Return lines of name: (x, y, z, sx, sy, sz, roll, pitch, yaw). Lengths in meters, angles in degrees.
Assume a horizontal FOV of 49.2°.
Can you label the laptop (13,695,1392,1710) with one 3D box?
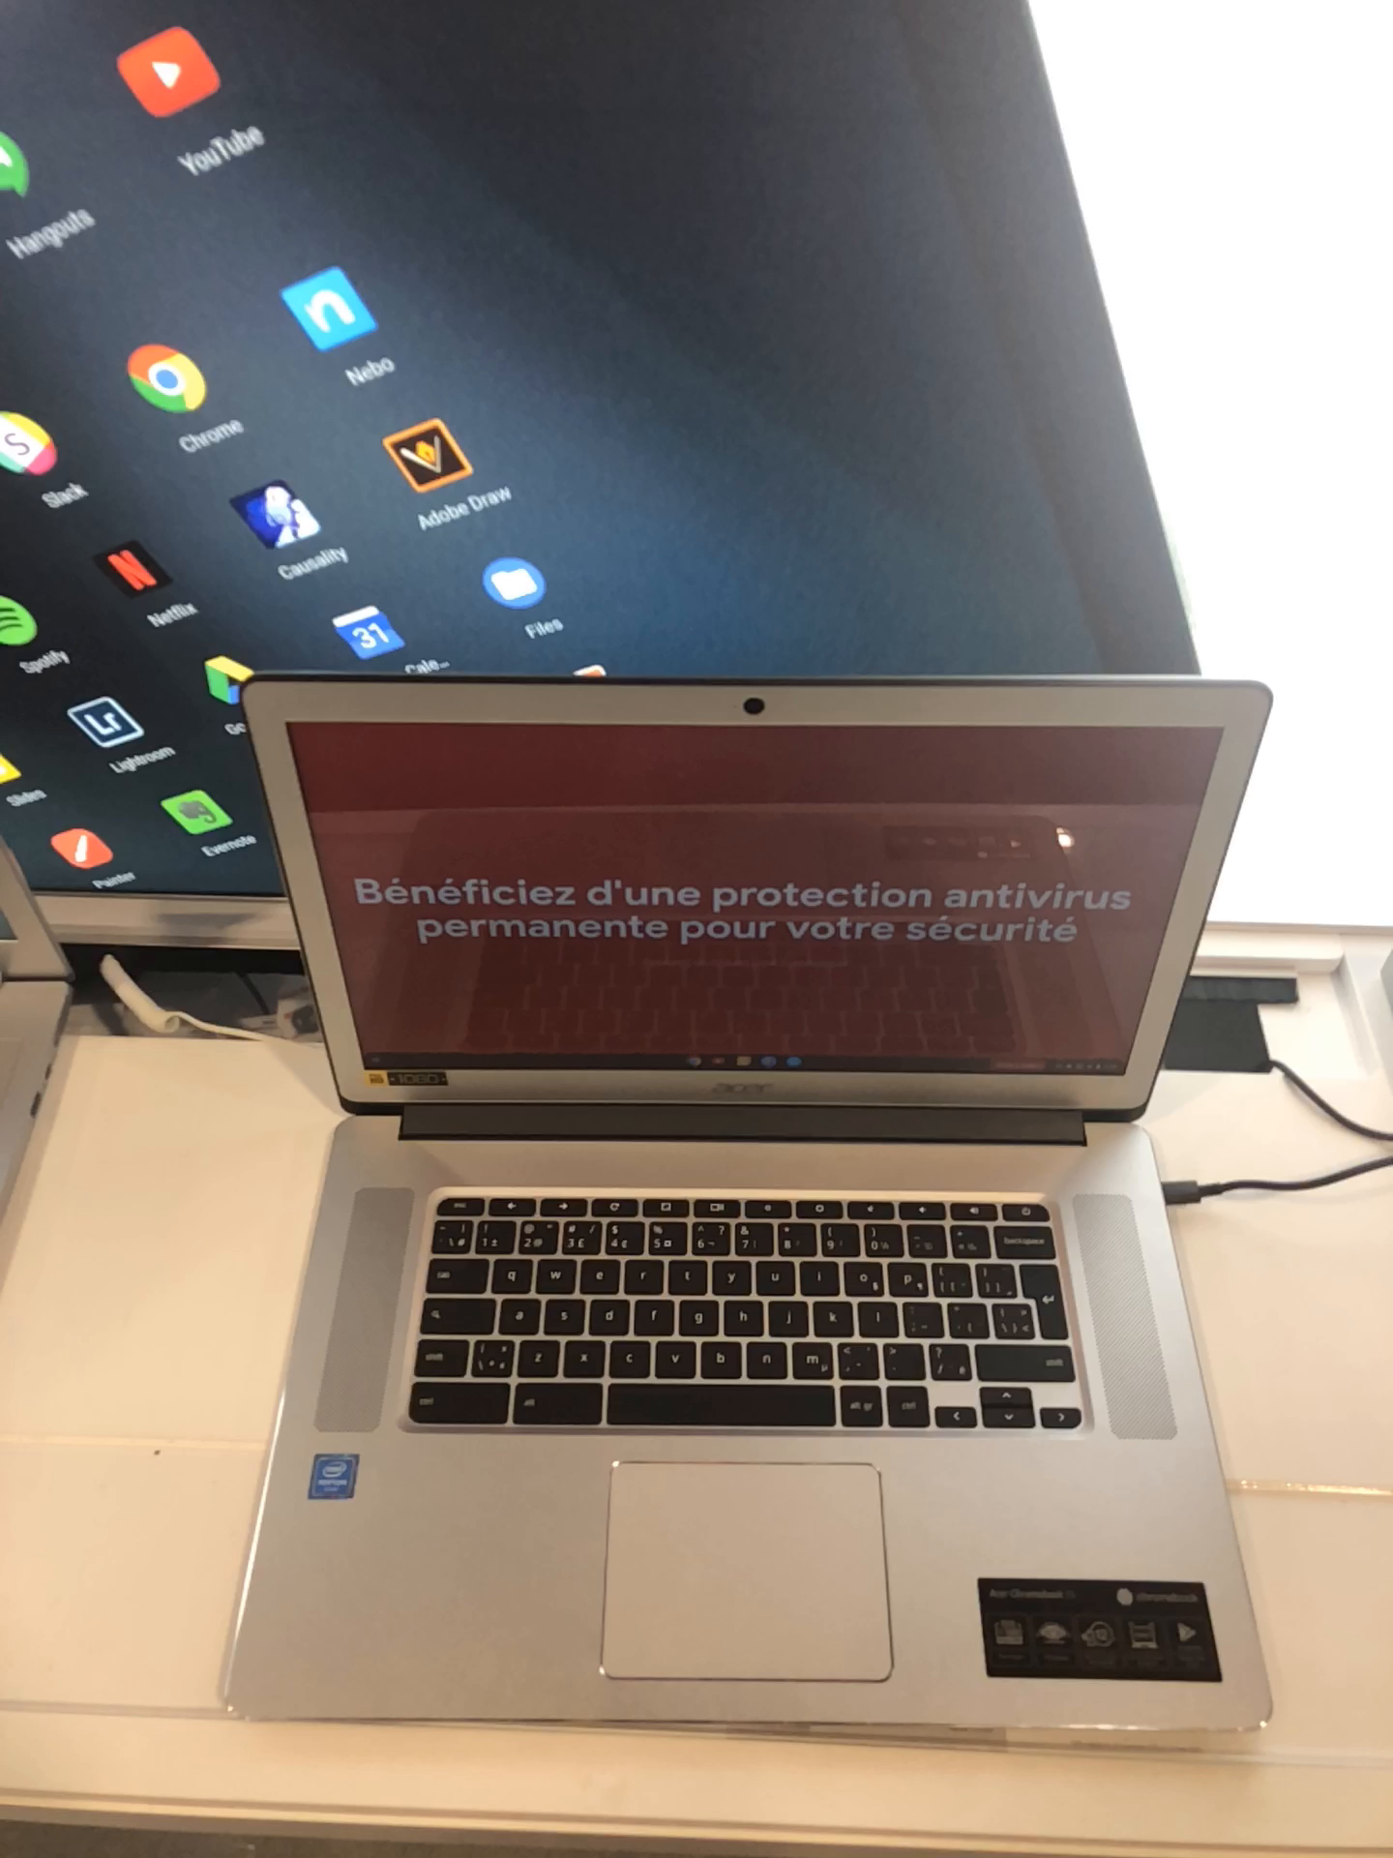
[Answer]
laptop: (0.018, 0.102, 0.558, 0.371, 0.243, 0.283, 0, 51, 0)
